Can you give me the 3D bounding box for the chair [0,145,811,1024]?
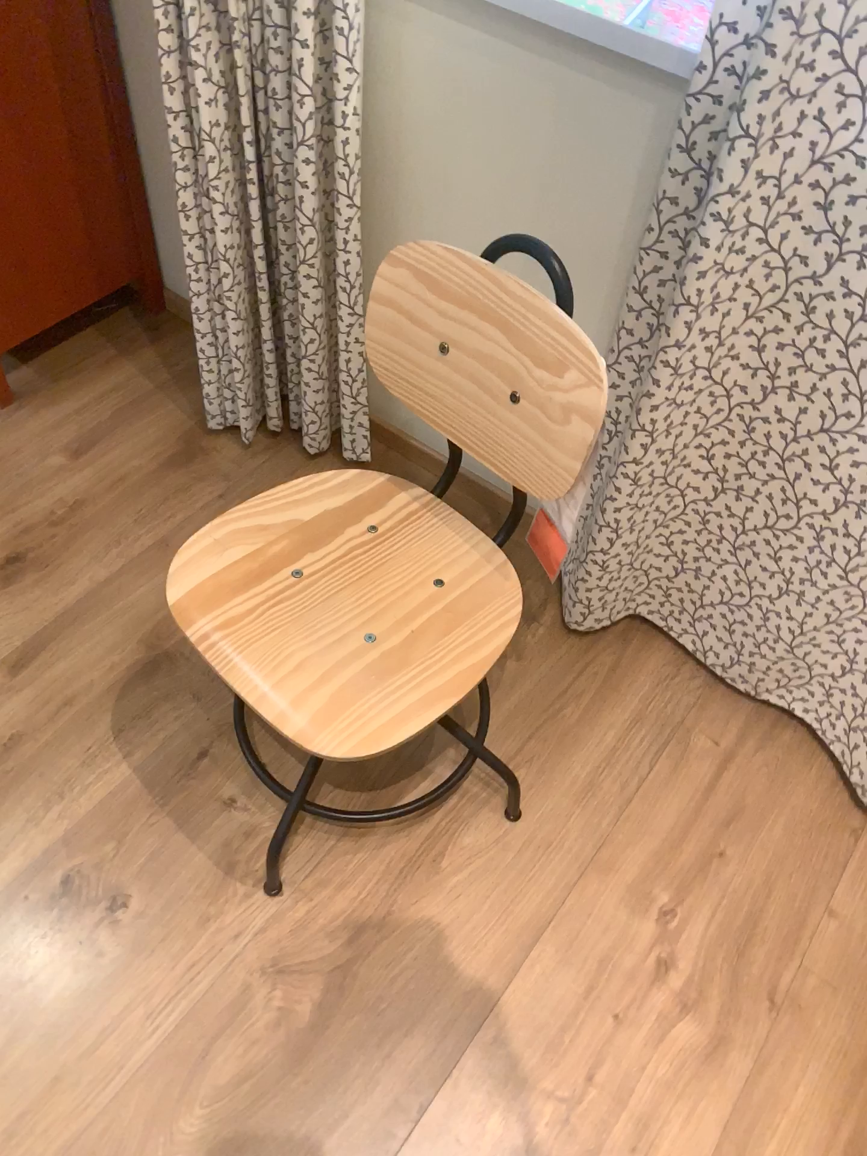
[{"bbox_3d":[-0.081,0.006,1.059,0.621,0.648,0.561,-37,64,-29],"label":"chair"}]
